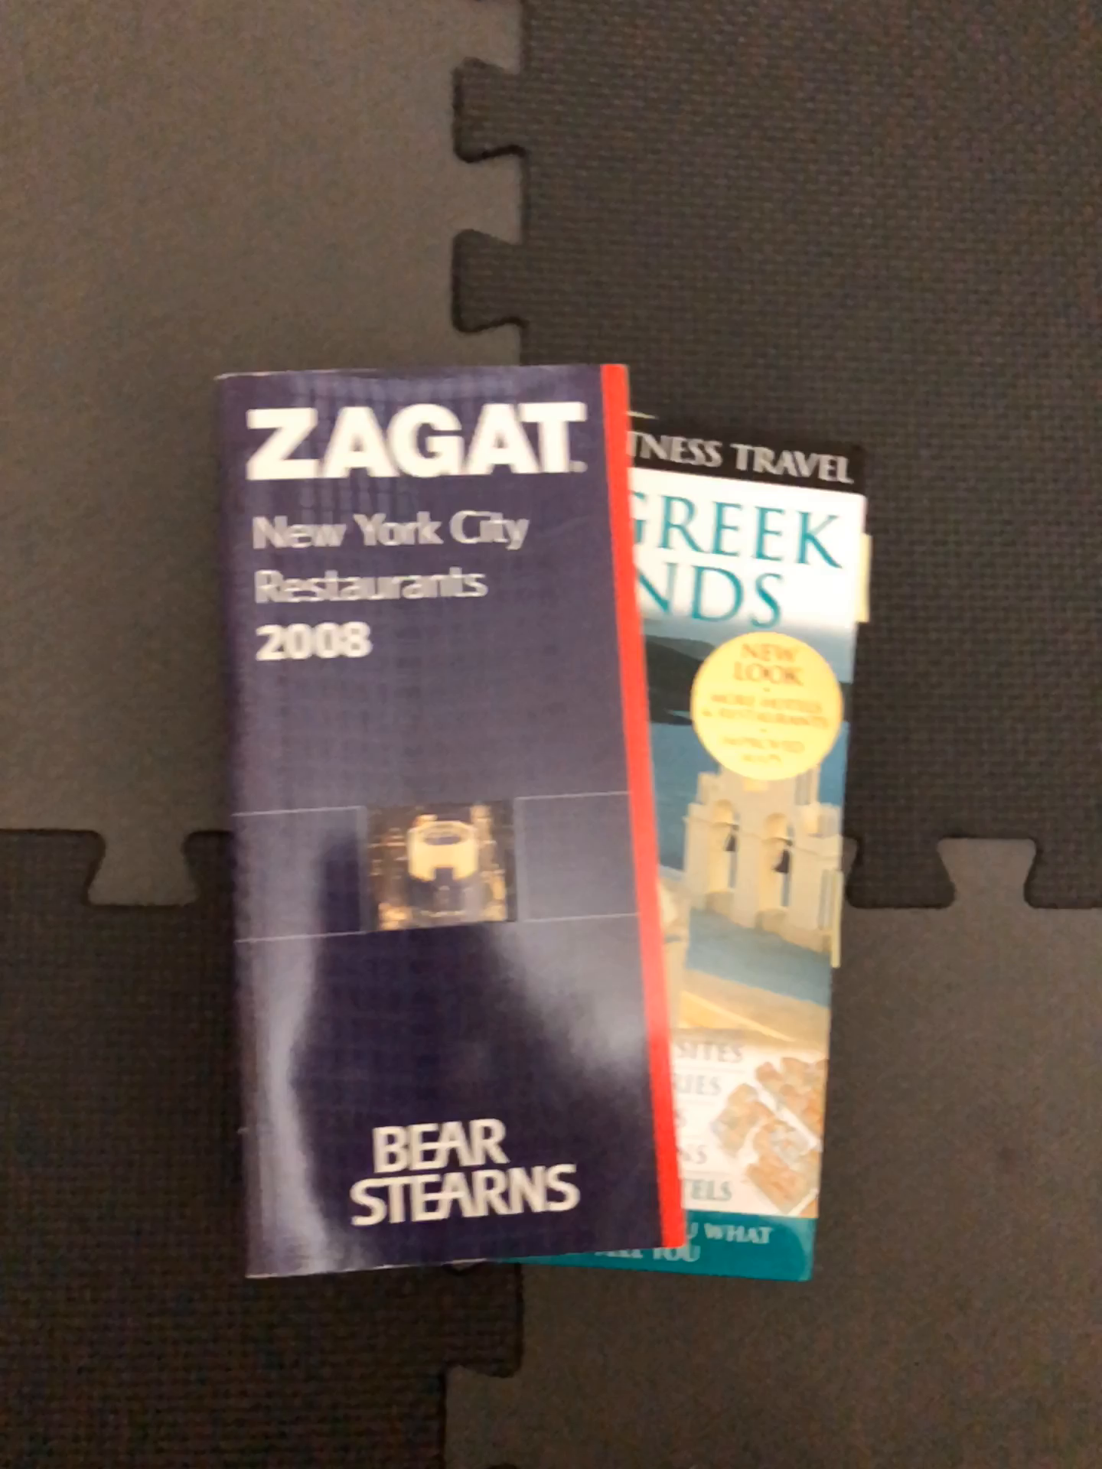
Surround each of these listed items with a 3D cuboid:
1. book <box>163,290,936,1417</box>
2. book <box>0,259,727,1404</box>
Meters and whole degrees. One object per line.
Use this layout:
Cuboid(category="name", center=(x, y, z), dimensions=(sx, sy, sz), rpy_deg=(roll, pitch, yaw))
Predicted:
Cuboid(category="book", center=(0.005, 0.026, 0.311), dimensions=(0.170, 0.030, 0.260), rpy_deg=(4, 83, -4))
Cuboid(category="book", center=(-0.046, 0.014, 0.290), dimensions=(0.150, 0.020, 0.250), rpy_deg=(-4, 84, -5))
